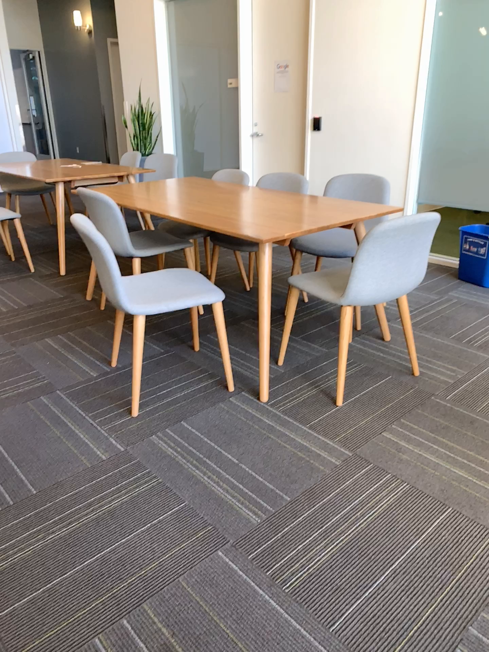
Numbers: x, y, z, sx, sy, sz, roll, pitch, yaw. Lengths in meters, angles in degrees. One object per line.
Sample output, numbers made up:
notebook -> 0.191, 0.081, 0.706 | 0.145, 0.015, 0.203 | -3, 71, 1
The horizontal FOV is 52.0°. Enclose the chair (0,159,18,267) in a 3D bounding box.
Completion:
chair -> -2.388, -0.993, 4.296 | 0.531, 0.776, 0.572 | -20, 30, -39

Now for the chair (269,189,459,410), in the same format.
chair -> 0.497, -0.164, 2.255 | 0.560, 0.776, 0.533 | -15, 27, -30

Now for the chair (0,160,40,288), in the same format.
chair -> -1.994, -0.794, 3.766 | 0.571, 0.796, 0.593 | -18, 28, -36

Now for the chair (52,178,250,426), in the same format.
chair -> -0.424, -0.178, 2.237 | 0.630, 0.815, 0.764 | -11, 25, -23
